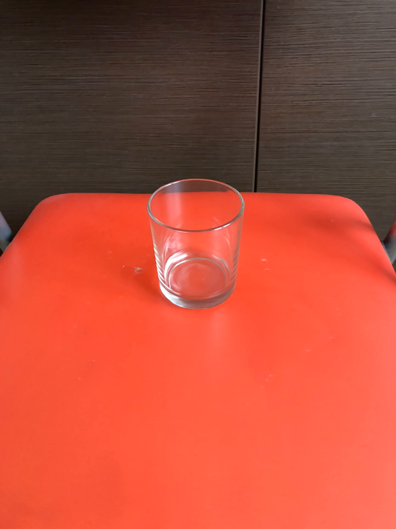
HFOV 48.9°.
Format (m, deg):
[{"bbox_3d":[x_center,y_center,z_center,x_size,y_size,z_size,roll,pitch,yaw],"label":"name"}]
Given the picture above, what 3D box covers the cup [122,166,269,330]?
[{"bbox_3d":[-0.002,-0.016,0.353,0.078,0.082,0.080,-1,39,1],"label":"cup"}]
